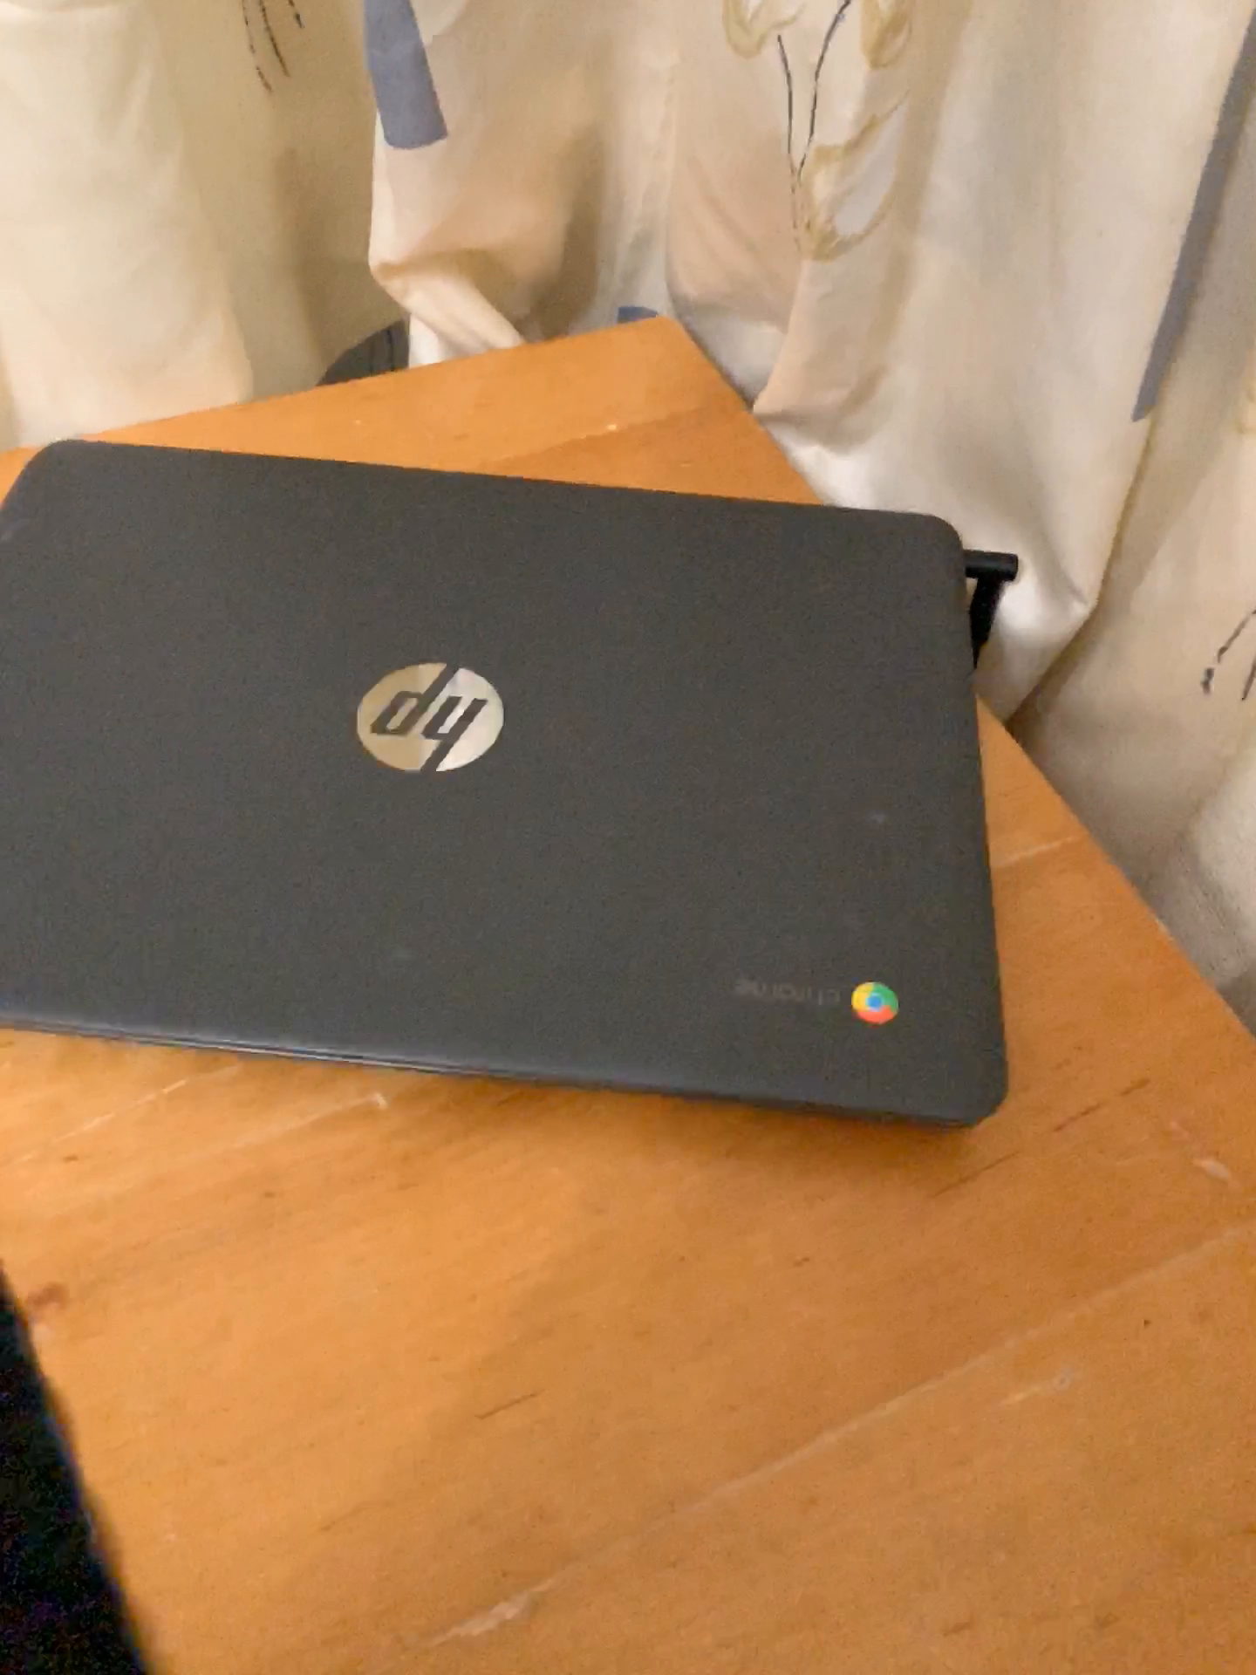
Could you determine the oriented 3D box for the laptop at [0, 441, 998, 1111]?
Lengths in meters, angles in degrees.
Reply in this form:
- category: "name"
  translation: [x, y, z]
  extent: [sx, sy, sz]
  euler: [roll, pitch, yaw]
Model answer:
- category: "laptop"
  translation: [-0.048, -0.031, 0.316]
  extent: [0.261, 0.004, 0.186]
  euler: [5, 51, 3]
